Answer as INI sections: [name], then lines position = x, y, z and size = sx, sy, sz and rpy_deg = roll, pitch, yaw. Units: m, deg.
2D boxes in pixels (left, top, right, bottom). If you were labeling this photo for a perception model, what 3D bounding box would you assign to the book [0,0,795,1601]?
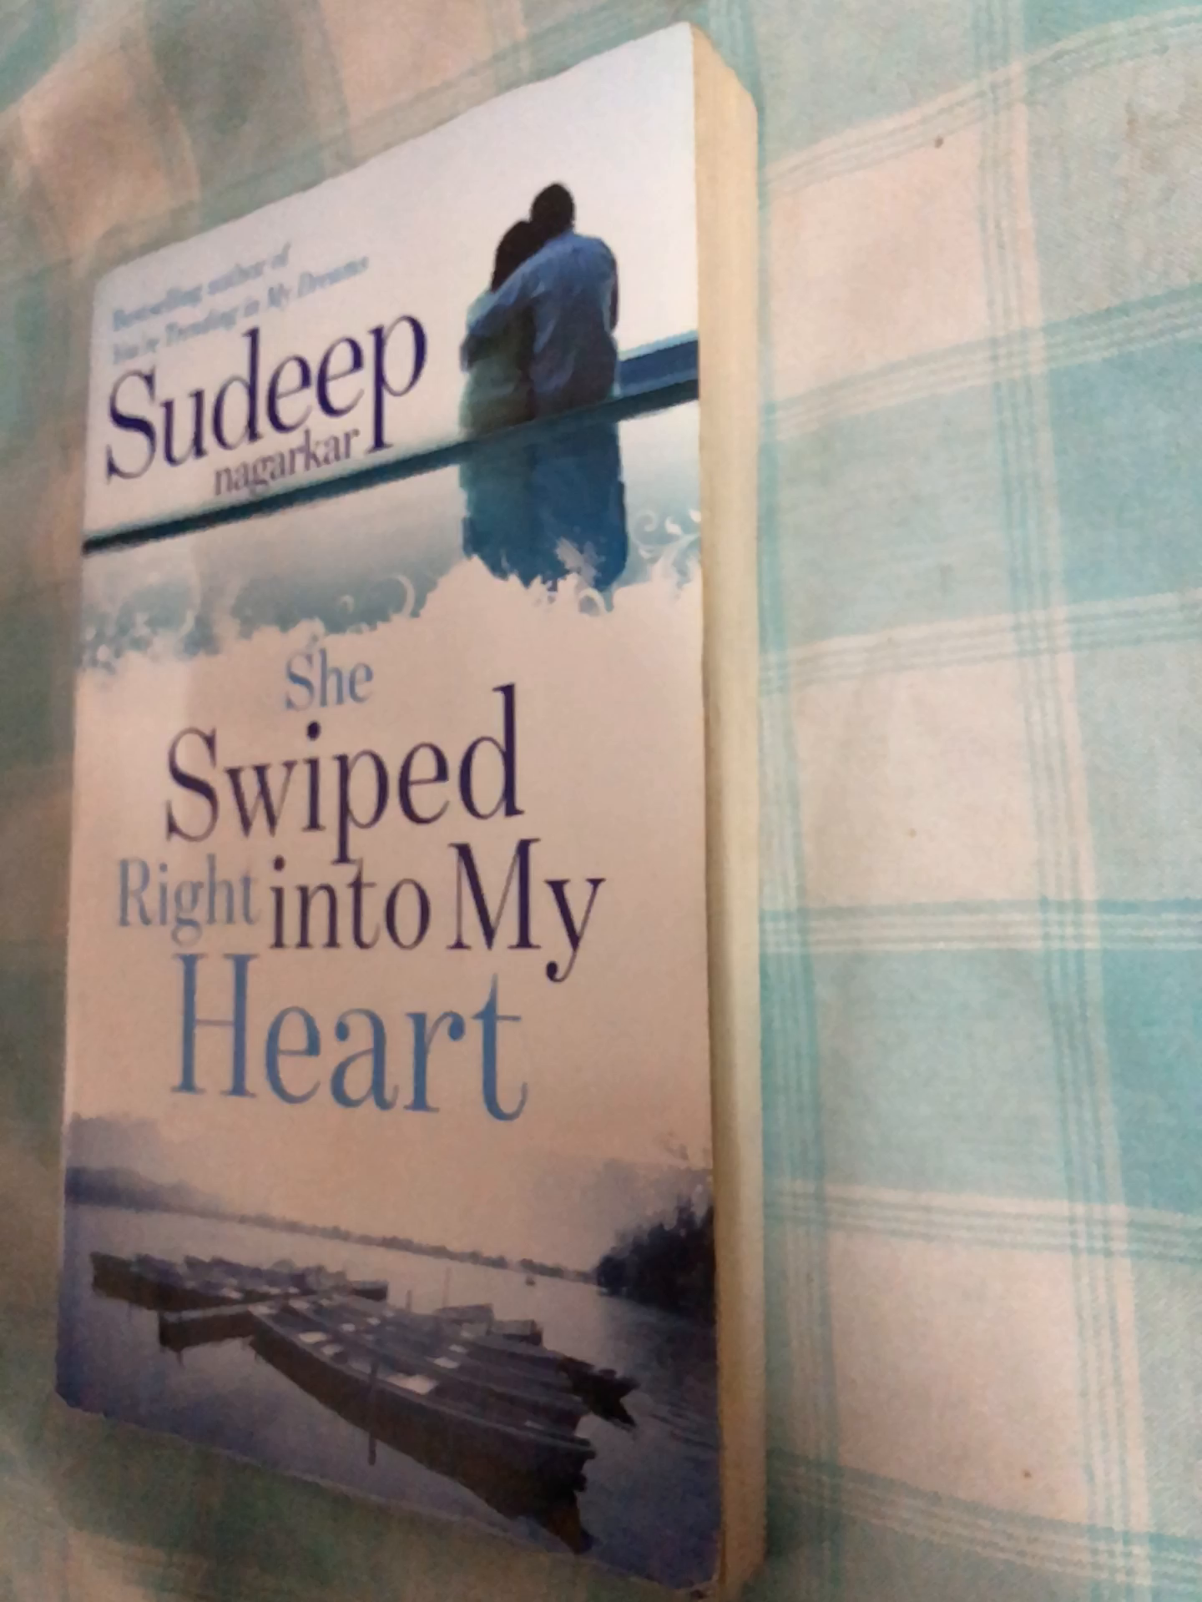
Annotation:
[book]
position = -0.038, -0.006, 0.209
size = 0.130, 0.030, 0.210
rpy_deg = -3, 85, 34
